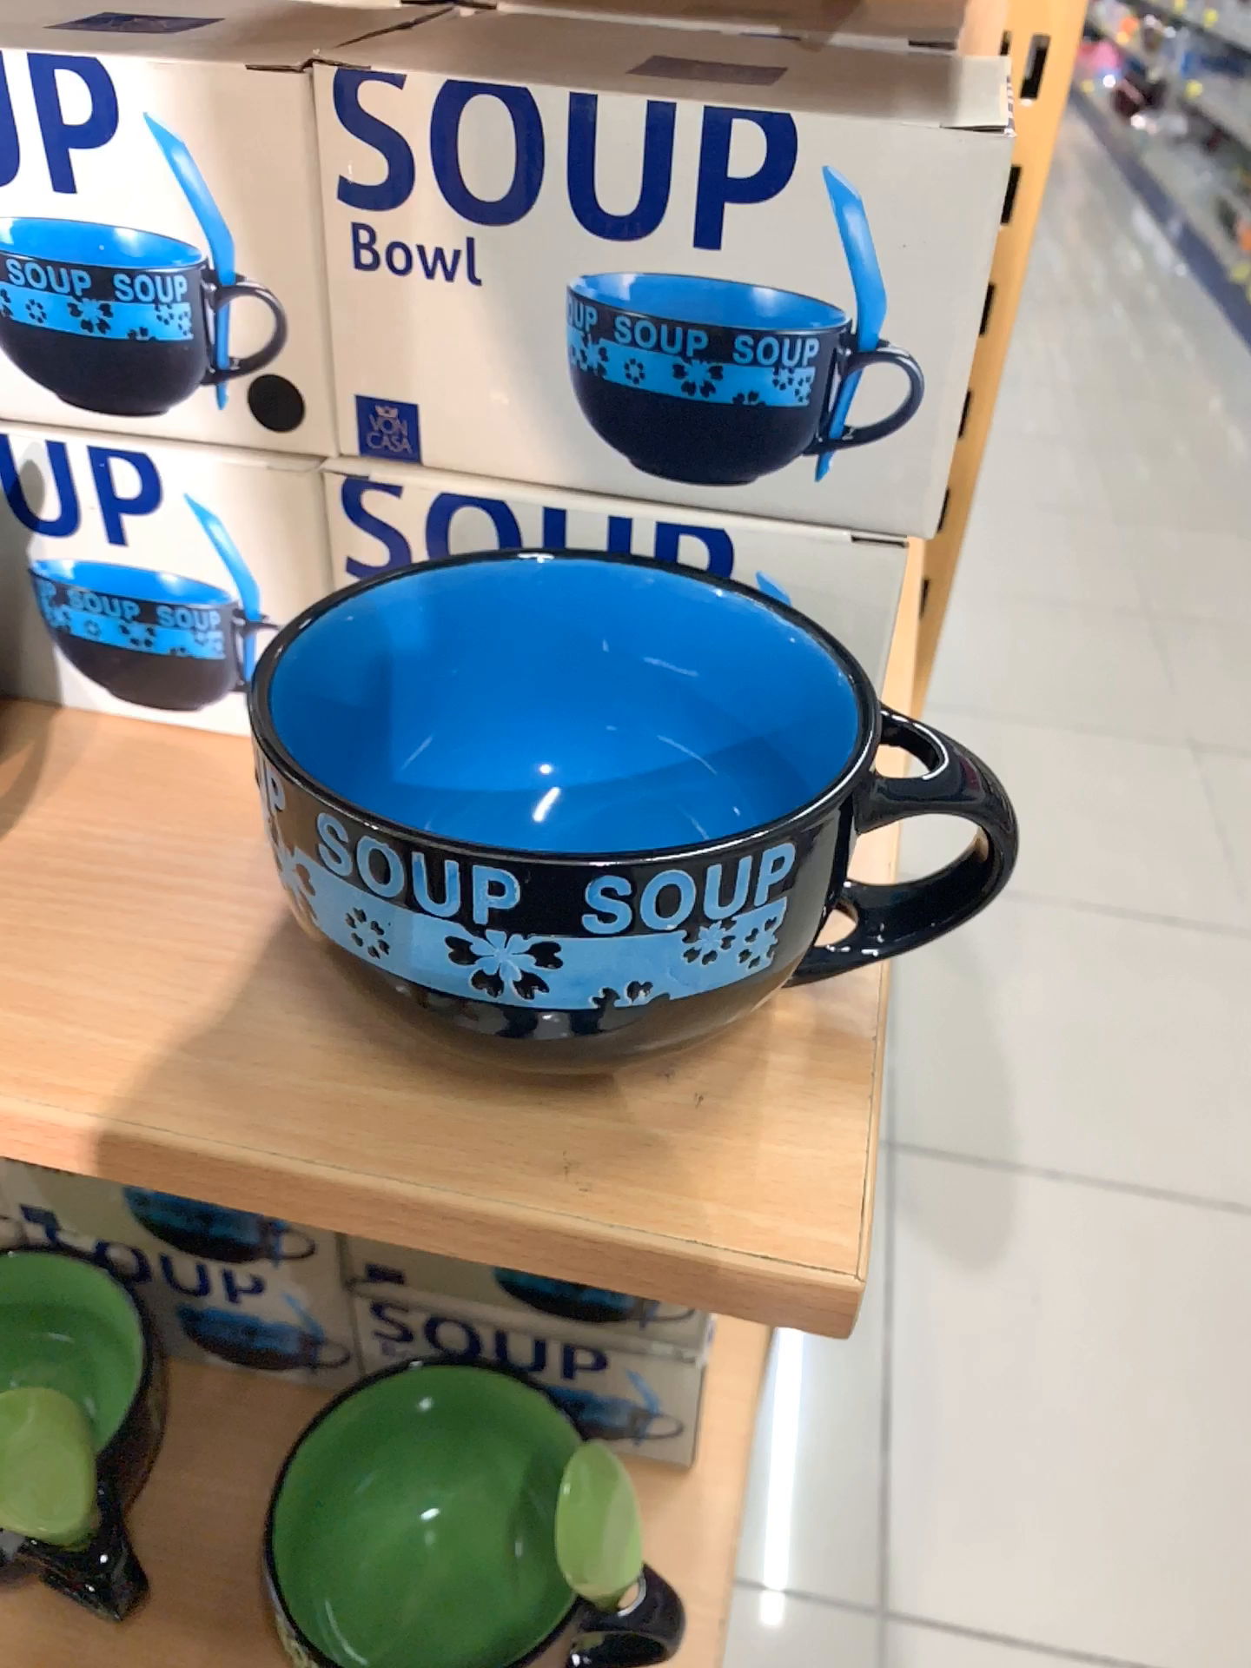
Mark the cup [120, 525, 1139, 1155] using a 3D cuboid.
[{"bbox_3d":[0.001,-0.004,0.249,0.150,0.060,0.100,5,36,-1],"label":"cup"}]
